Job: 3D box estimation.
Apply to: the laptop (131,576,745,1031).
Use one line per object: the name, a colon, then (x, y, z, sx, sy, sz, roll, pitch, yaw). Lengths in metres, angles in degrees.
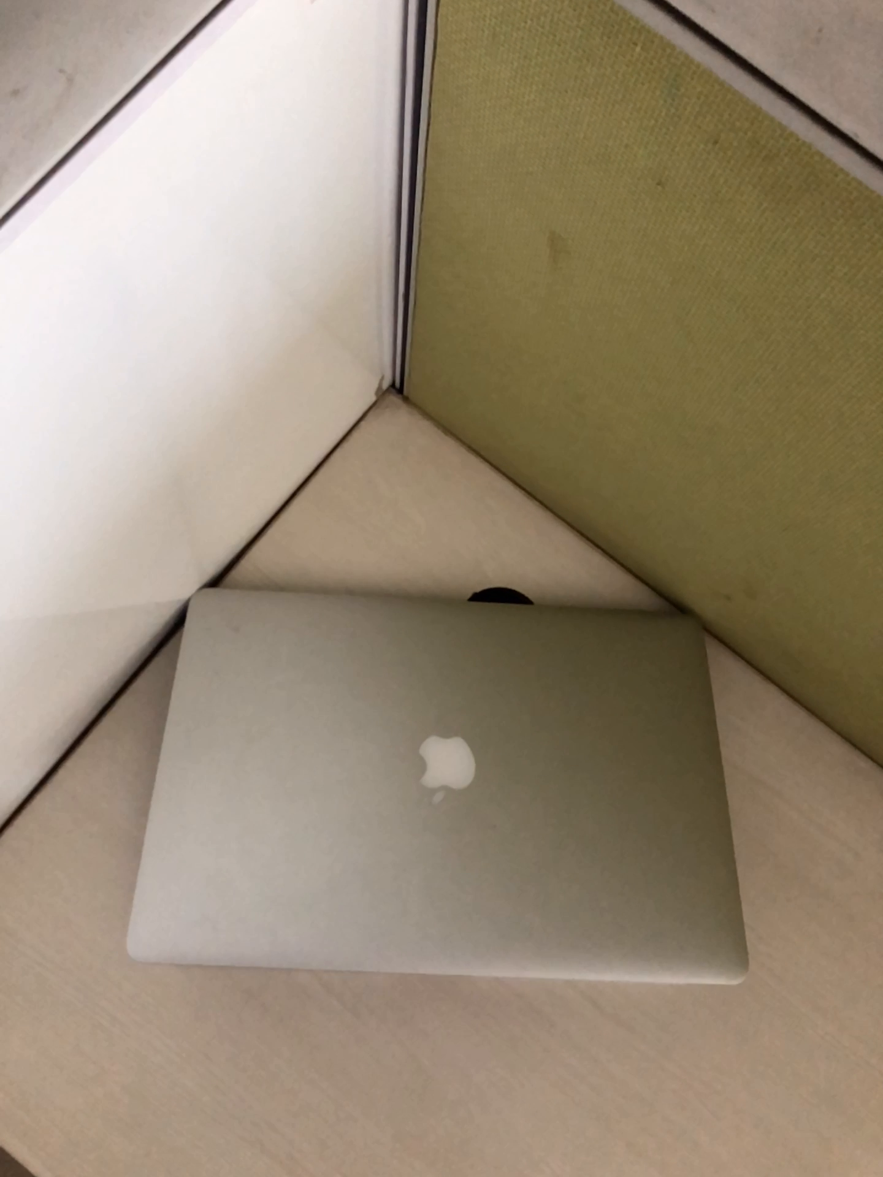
laptop: (0.003, 0.129, 0.606, 0.343, 0.084, 0.243, 3, 79, -3)
